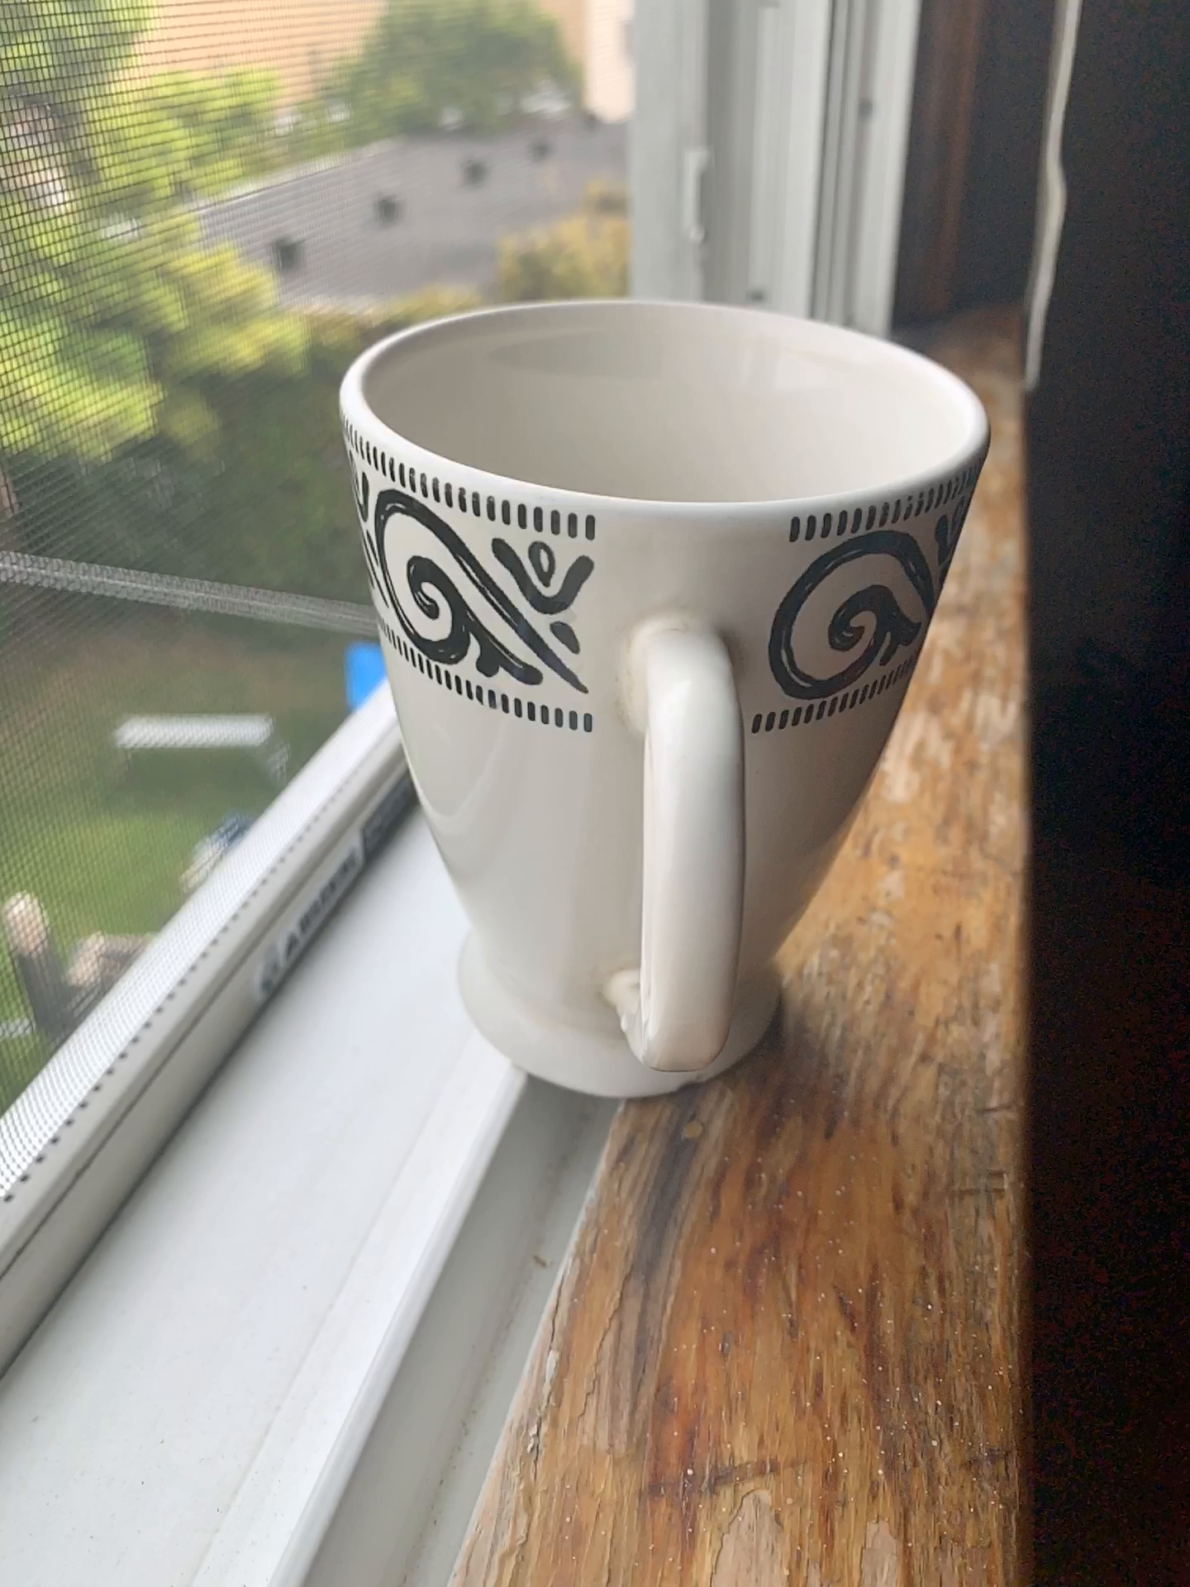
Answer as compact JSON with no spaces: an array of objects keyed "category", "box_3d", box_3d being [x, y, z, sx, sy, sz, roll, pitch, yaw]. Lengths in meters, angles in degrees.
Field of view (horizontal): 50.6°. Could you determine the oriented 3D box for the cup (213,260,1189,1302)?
[{"category":"cup","box_3d":[0.007,-0.014,0.179,0.080,0.089,0.131,1,33,-2]}]
